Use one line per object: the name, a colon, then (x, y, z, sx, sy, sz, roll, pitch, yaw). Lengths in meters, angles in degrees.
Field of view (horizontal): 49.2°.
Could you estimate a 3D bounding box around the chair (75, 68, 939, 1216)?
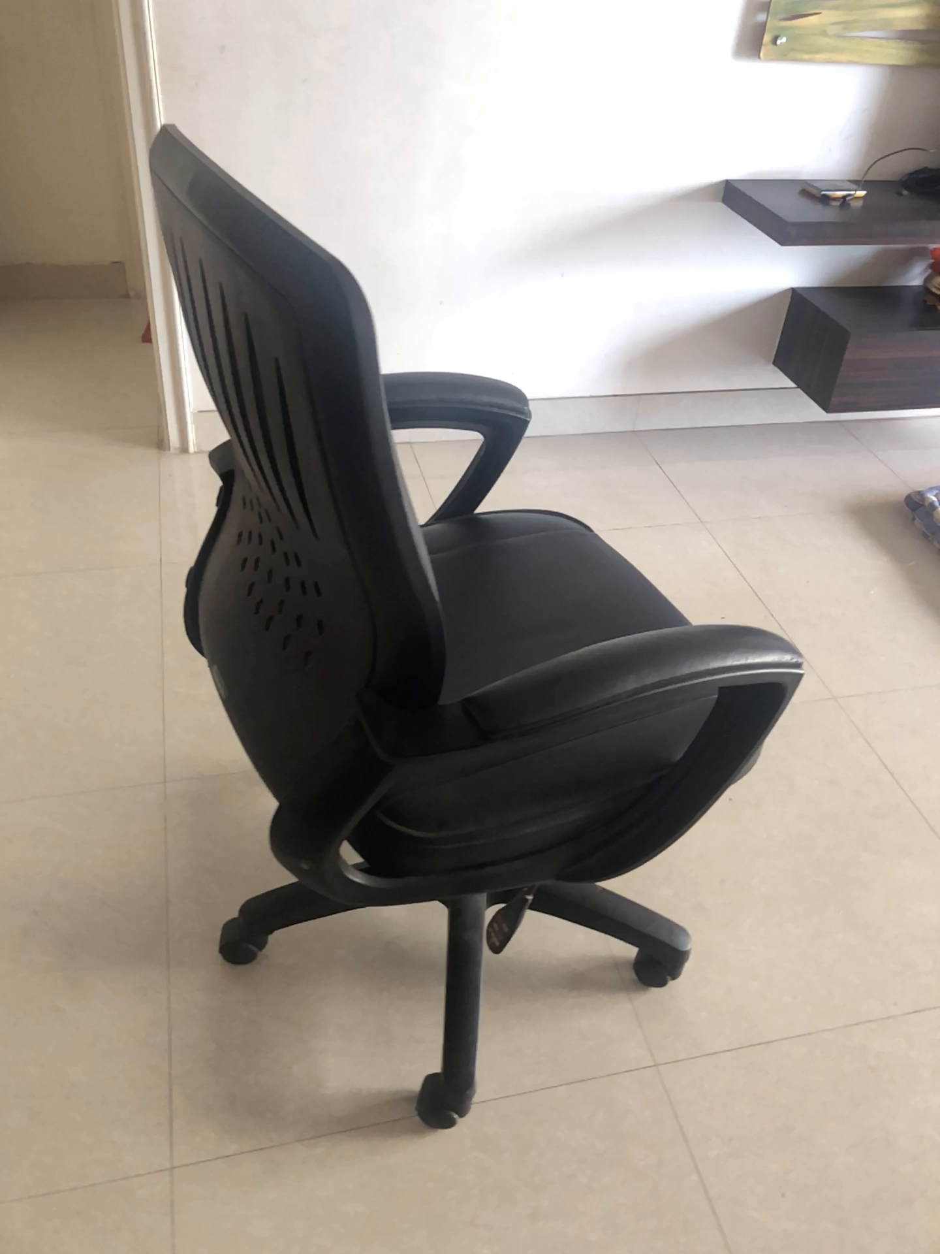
chair: (0.011, -0.022, 1.157, 0.631, 0.953, 0.704, -12, 41, -22)
